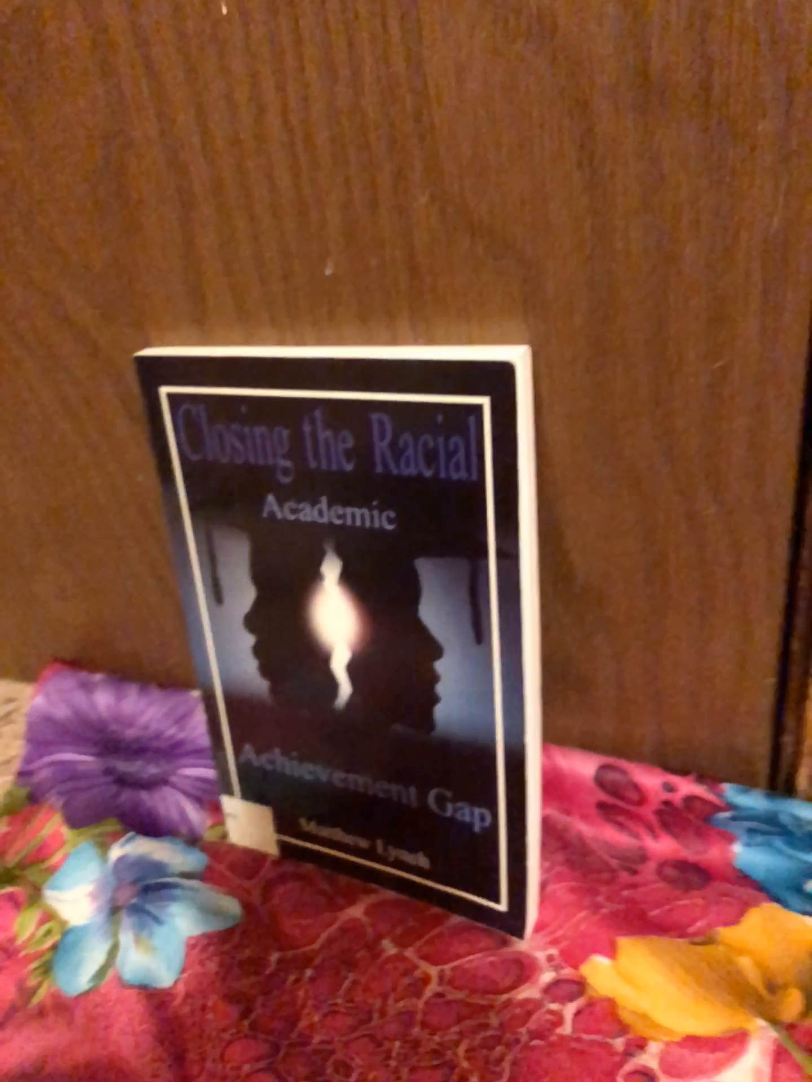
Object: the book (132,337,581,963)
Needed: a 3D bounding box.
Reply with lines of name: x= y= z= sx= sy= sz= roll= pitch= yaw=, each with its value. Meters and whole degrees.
book: x=-0.011 y=0.042 z=0.345 sx=0.146 sy=0.230 sz=0.036 roll=7 pitch=27 yaw=25
